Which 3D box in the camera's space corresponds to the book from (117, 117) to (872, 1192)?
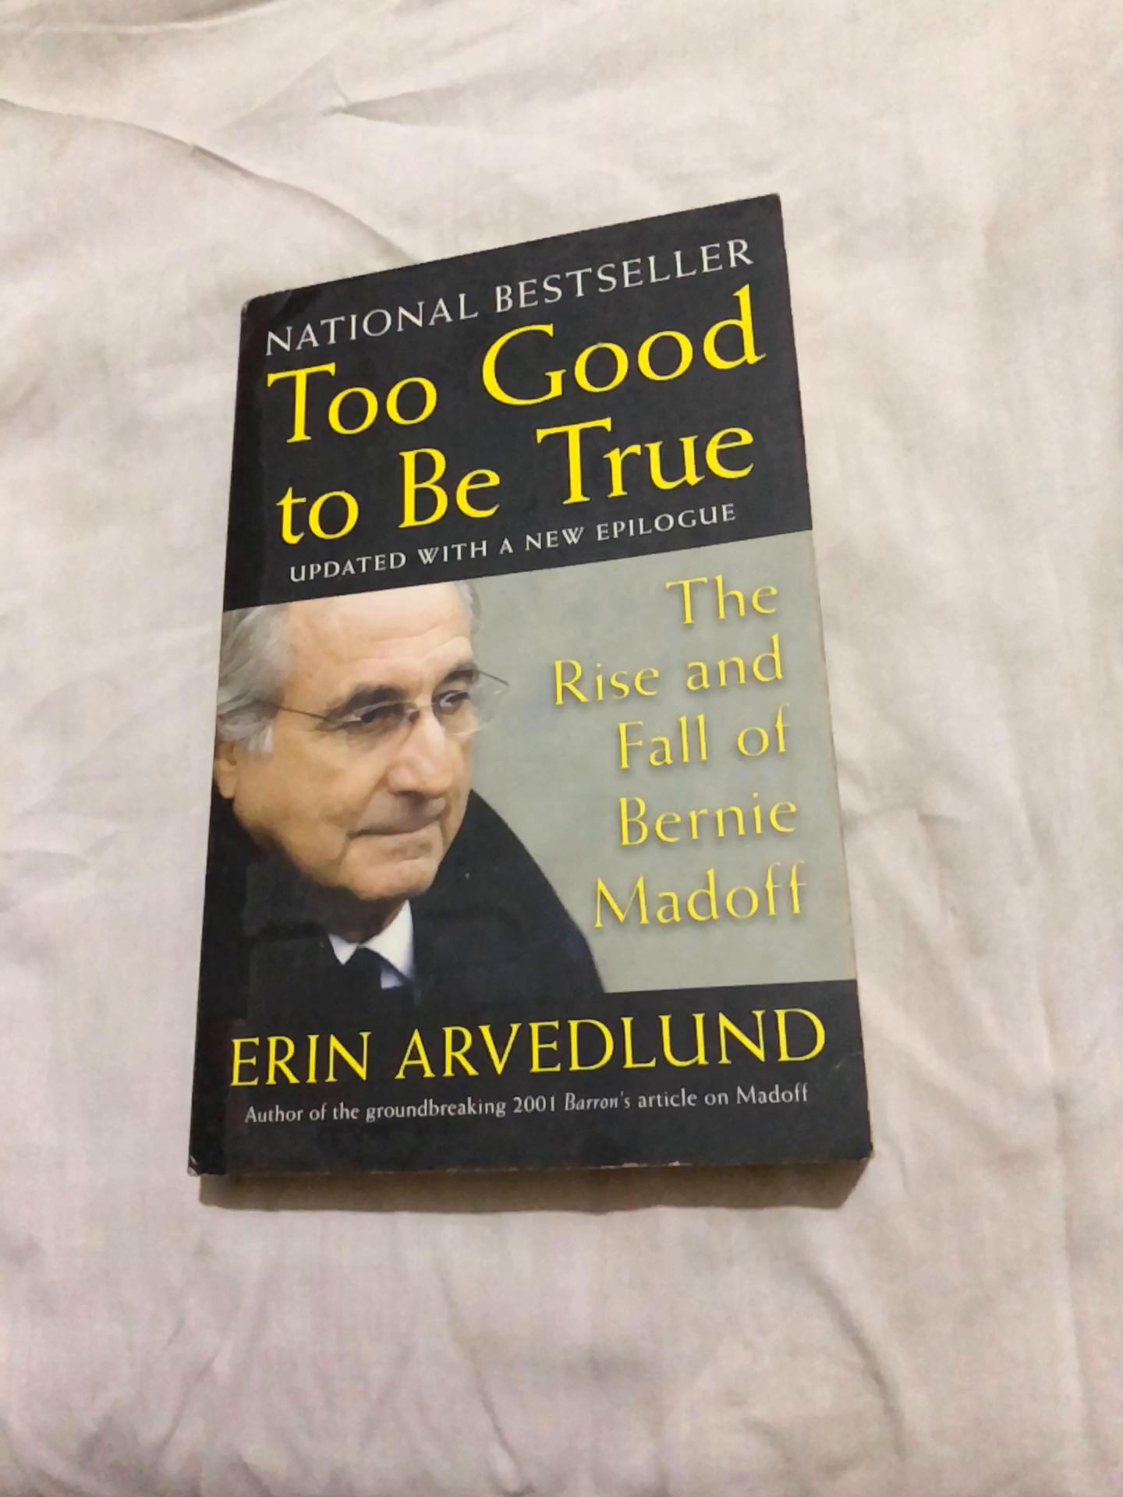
[{"bbox_3d":[-0.019,-0.023,0.286,0.150,0.030,0.230,-7,72,15],"label":"book"}]
